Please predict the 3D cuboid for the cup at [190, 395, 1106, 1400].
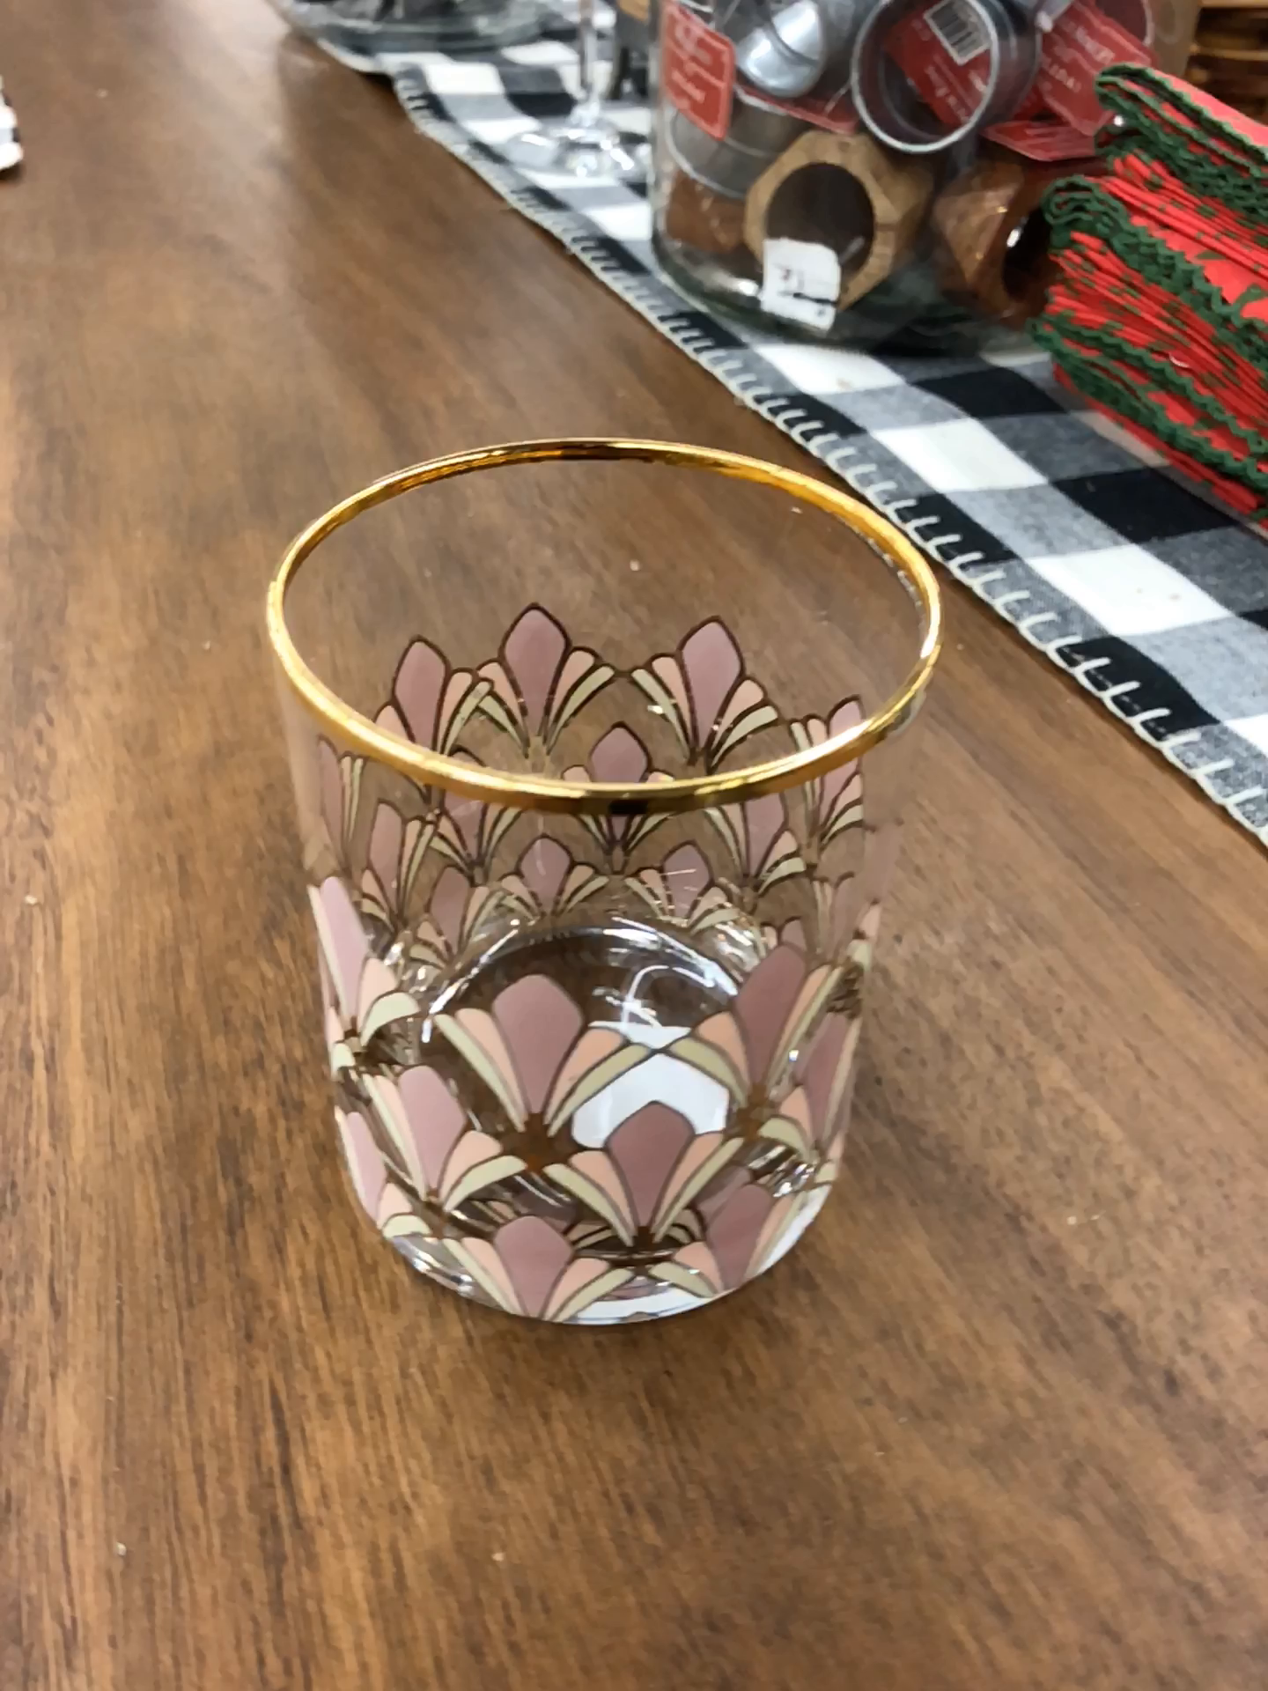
[{"bbox_3d":[-0.006,0.003,0.189,0.083,0.090,0.081,1,39,-1],"label":"cup"}]
